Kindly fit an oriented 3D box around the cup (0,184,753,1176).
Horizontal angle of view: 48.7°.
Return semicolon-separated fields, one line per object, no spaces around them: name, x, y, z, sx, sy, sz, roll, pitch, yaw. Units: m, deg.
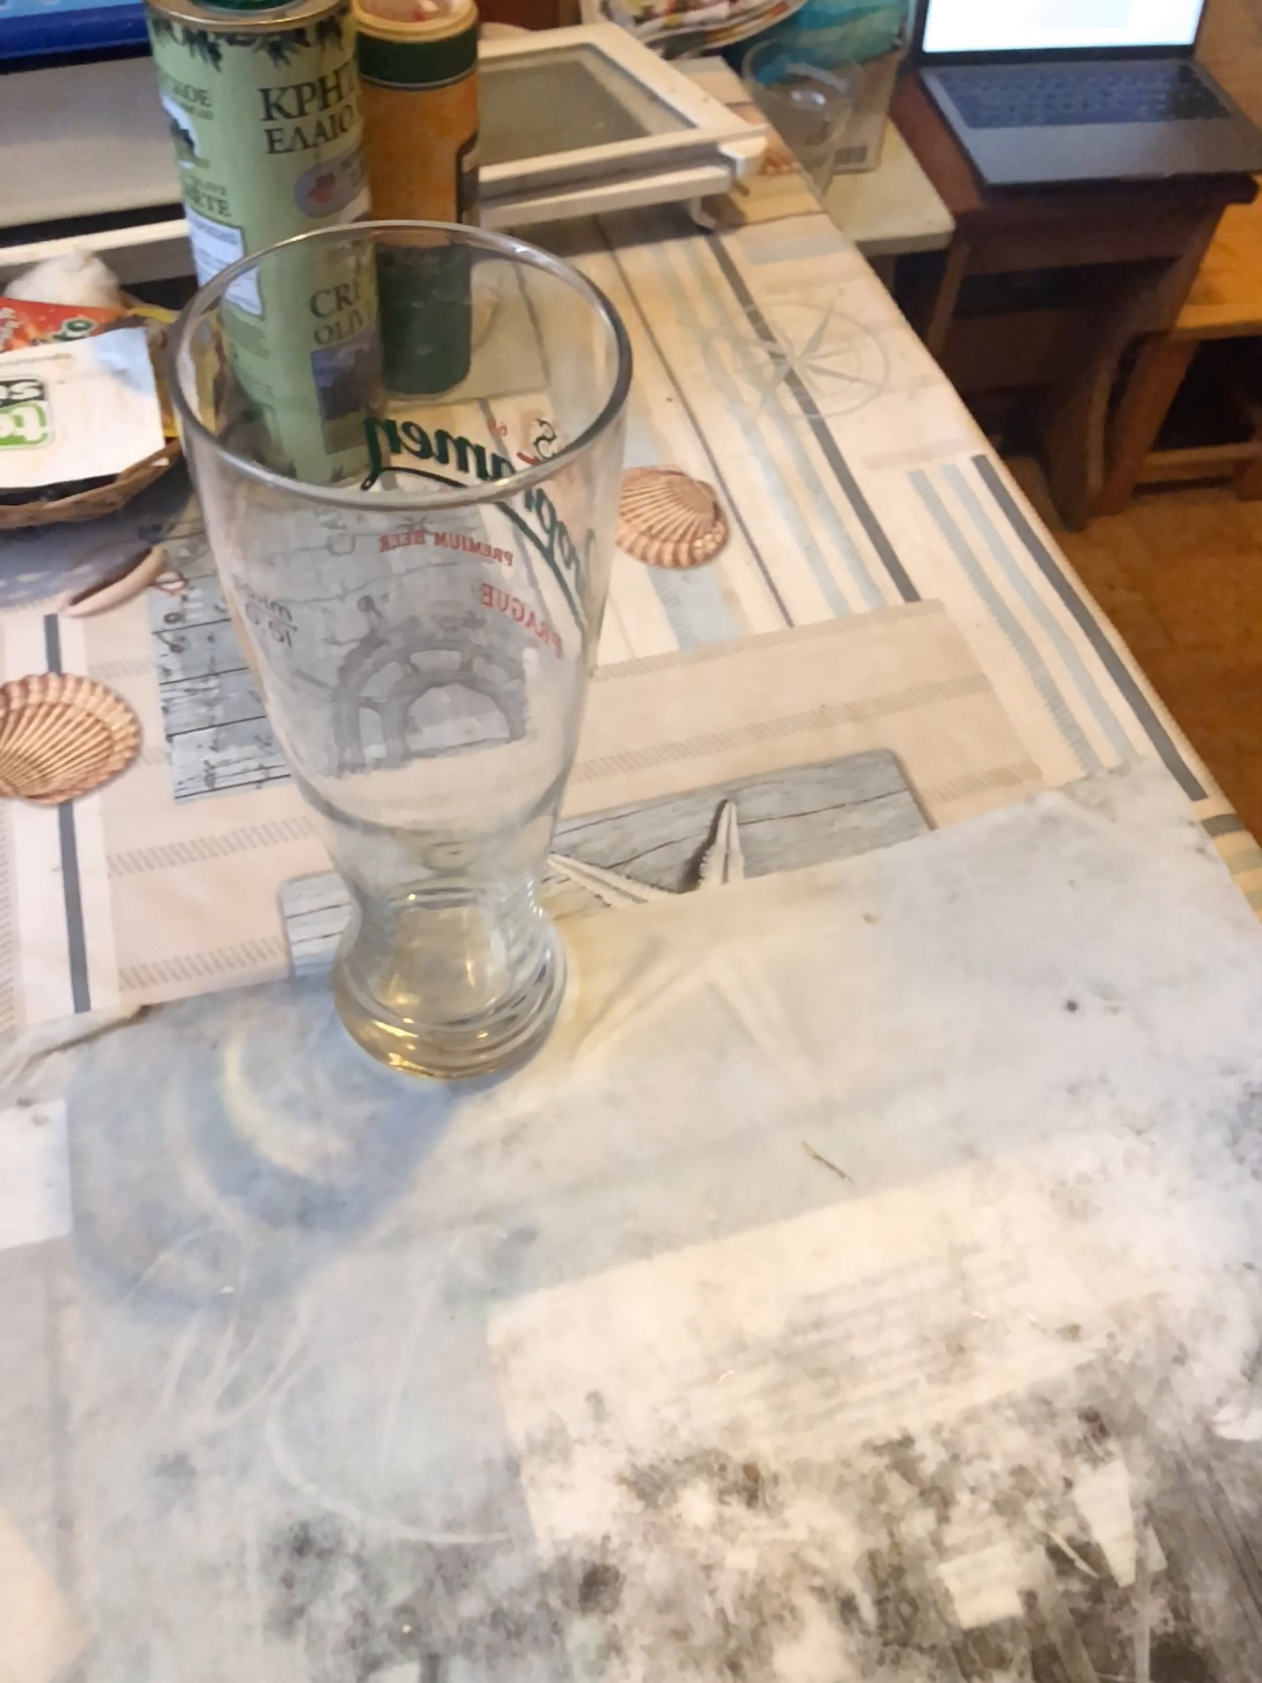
cup;-0.051;-0.023;0.319;0.098;0.192;0.089;-33;63;-25
